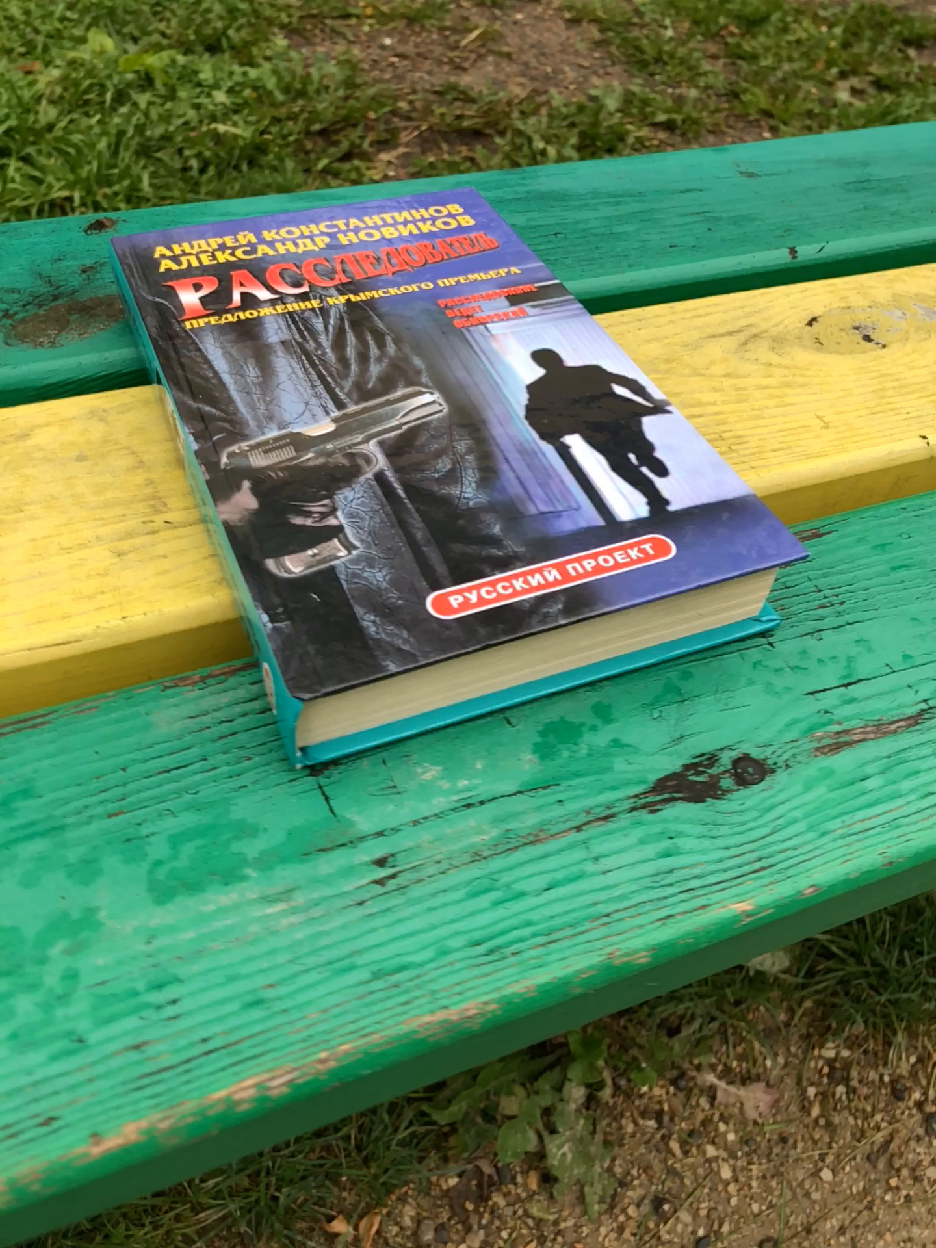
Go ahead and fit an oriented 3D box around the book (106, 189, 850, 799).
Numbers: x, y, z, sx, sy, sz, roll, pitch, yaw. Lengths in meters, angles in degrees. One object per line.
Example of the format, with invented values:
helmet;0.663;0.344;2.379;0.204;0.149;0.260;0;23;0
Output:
book;-0.012;-0.059;0.300;0.138;0.031;0.202;-15;50;-18
